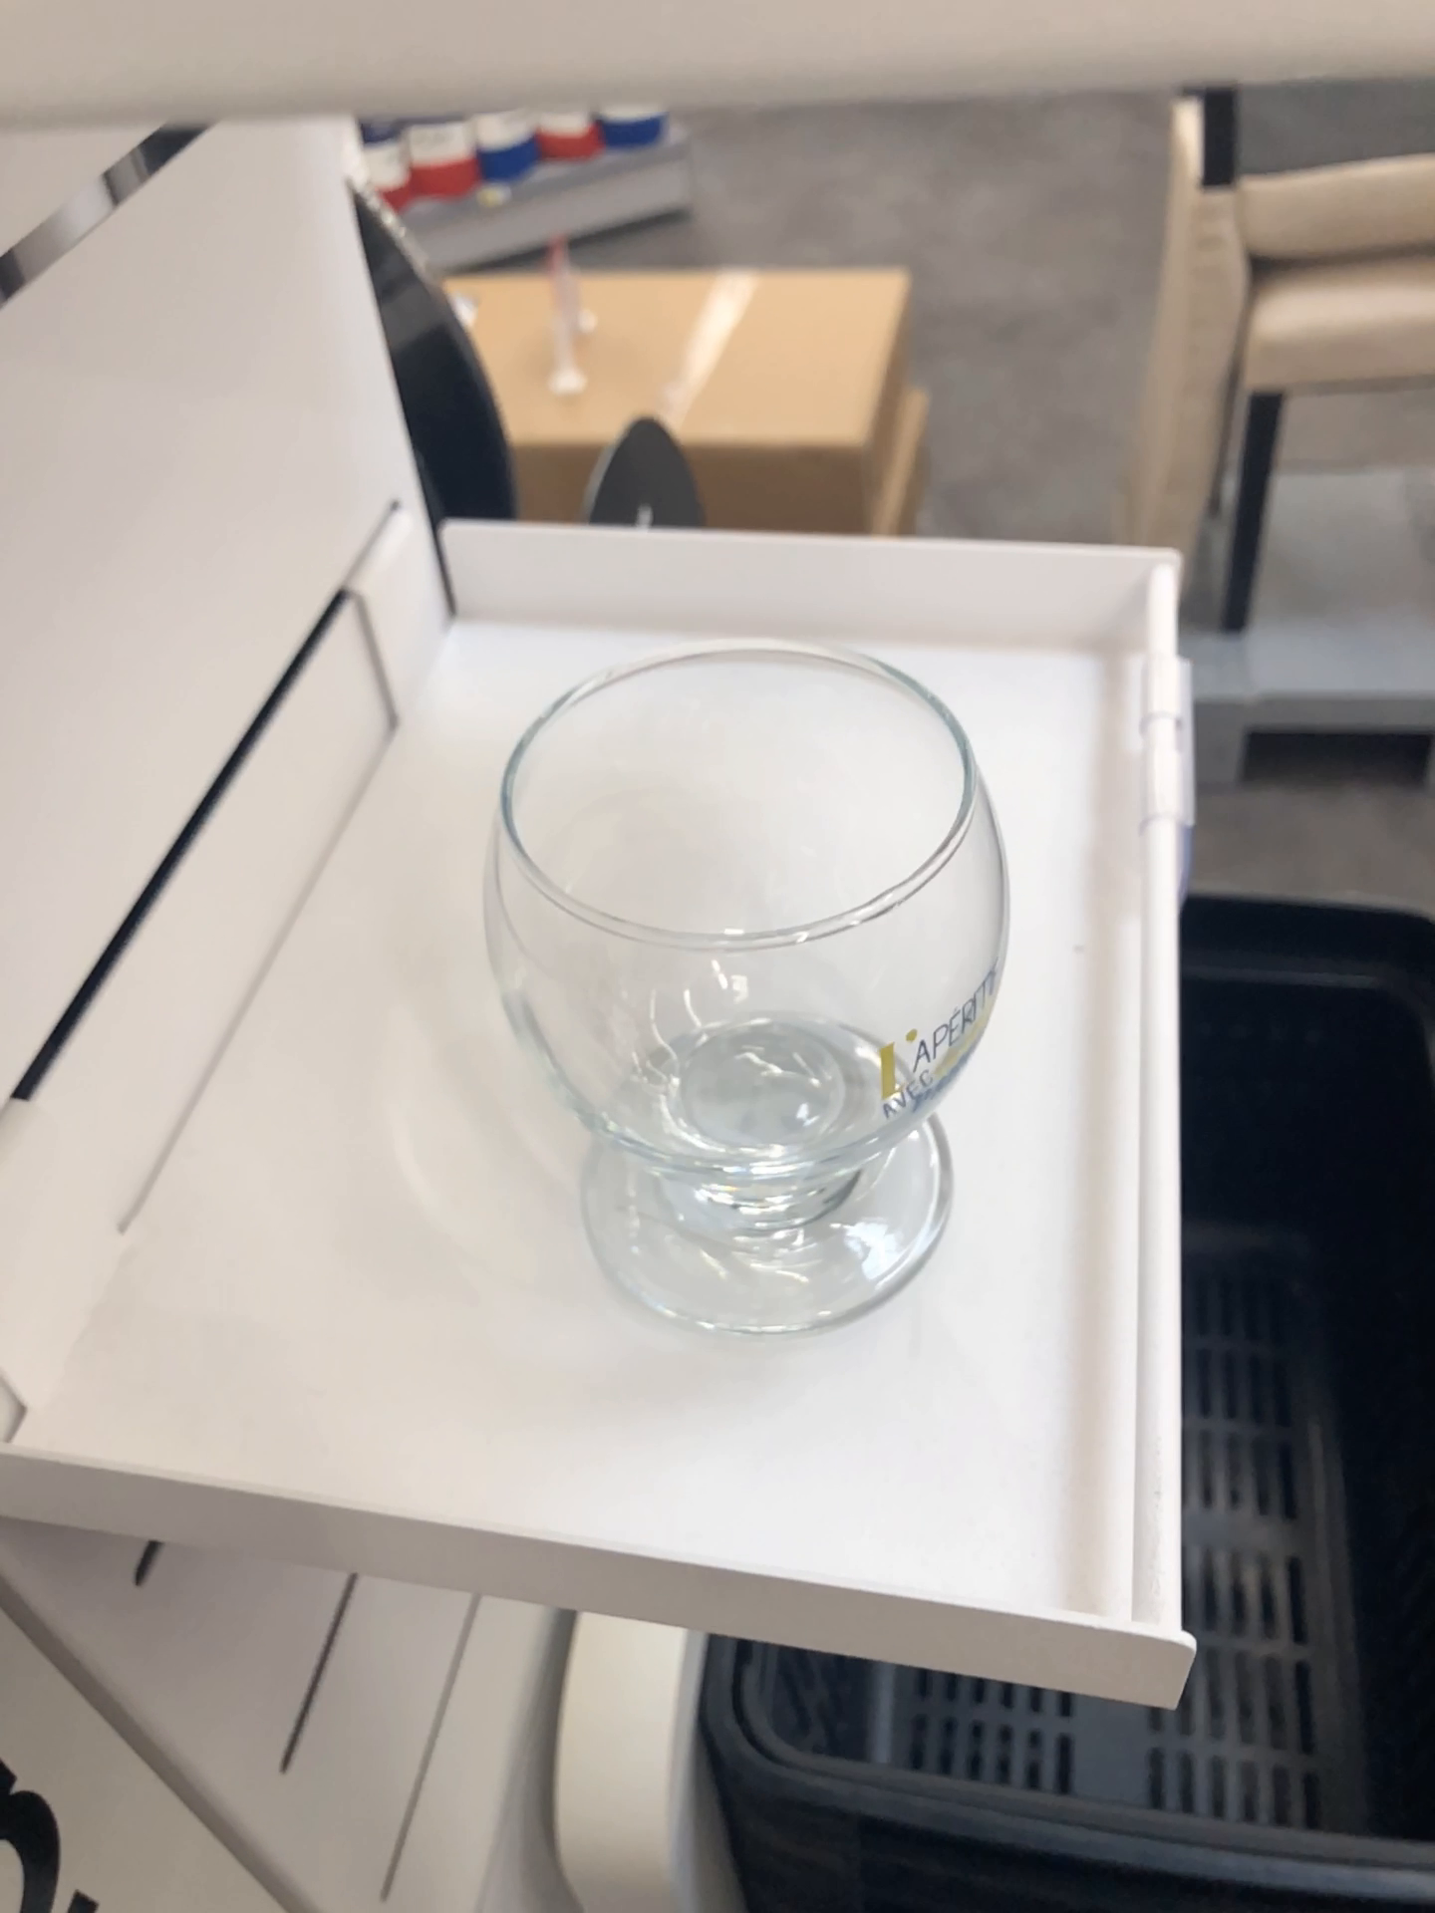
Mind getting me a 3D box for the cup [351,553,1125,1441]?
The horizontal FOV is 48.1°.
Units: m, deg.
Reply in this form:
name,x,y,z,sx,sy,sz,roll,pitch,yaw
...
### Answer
name,x,y,z,sx,sy,sz,roll,pitch,yaw
cup,0.007,0.005,0.253,0.079,0.093,0.074,-4,44,4
